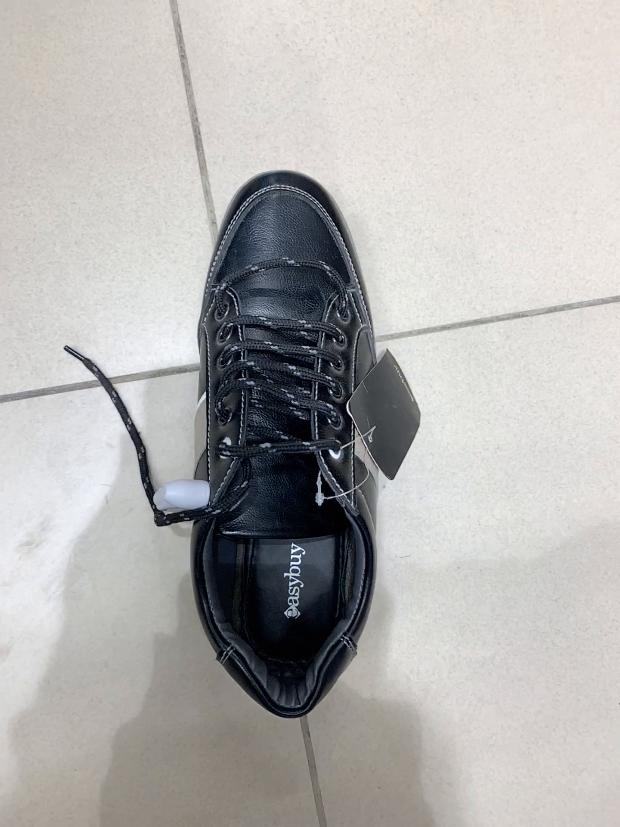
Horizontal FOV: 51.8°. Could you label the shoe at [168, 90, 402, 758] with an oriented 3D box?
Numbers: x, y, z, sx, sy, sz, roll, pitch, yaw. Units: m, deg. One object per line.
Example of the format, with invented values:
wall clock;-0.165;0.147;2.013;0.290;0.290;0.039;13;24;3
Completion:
shoe;-0.017;0.002;0.336;0.100;0.090;0.300;-1;85;-6
